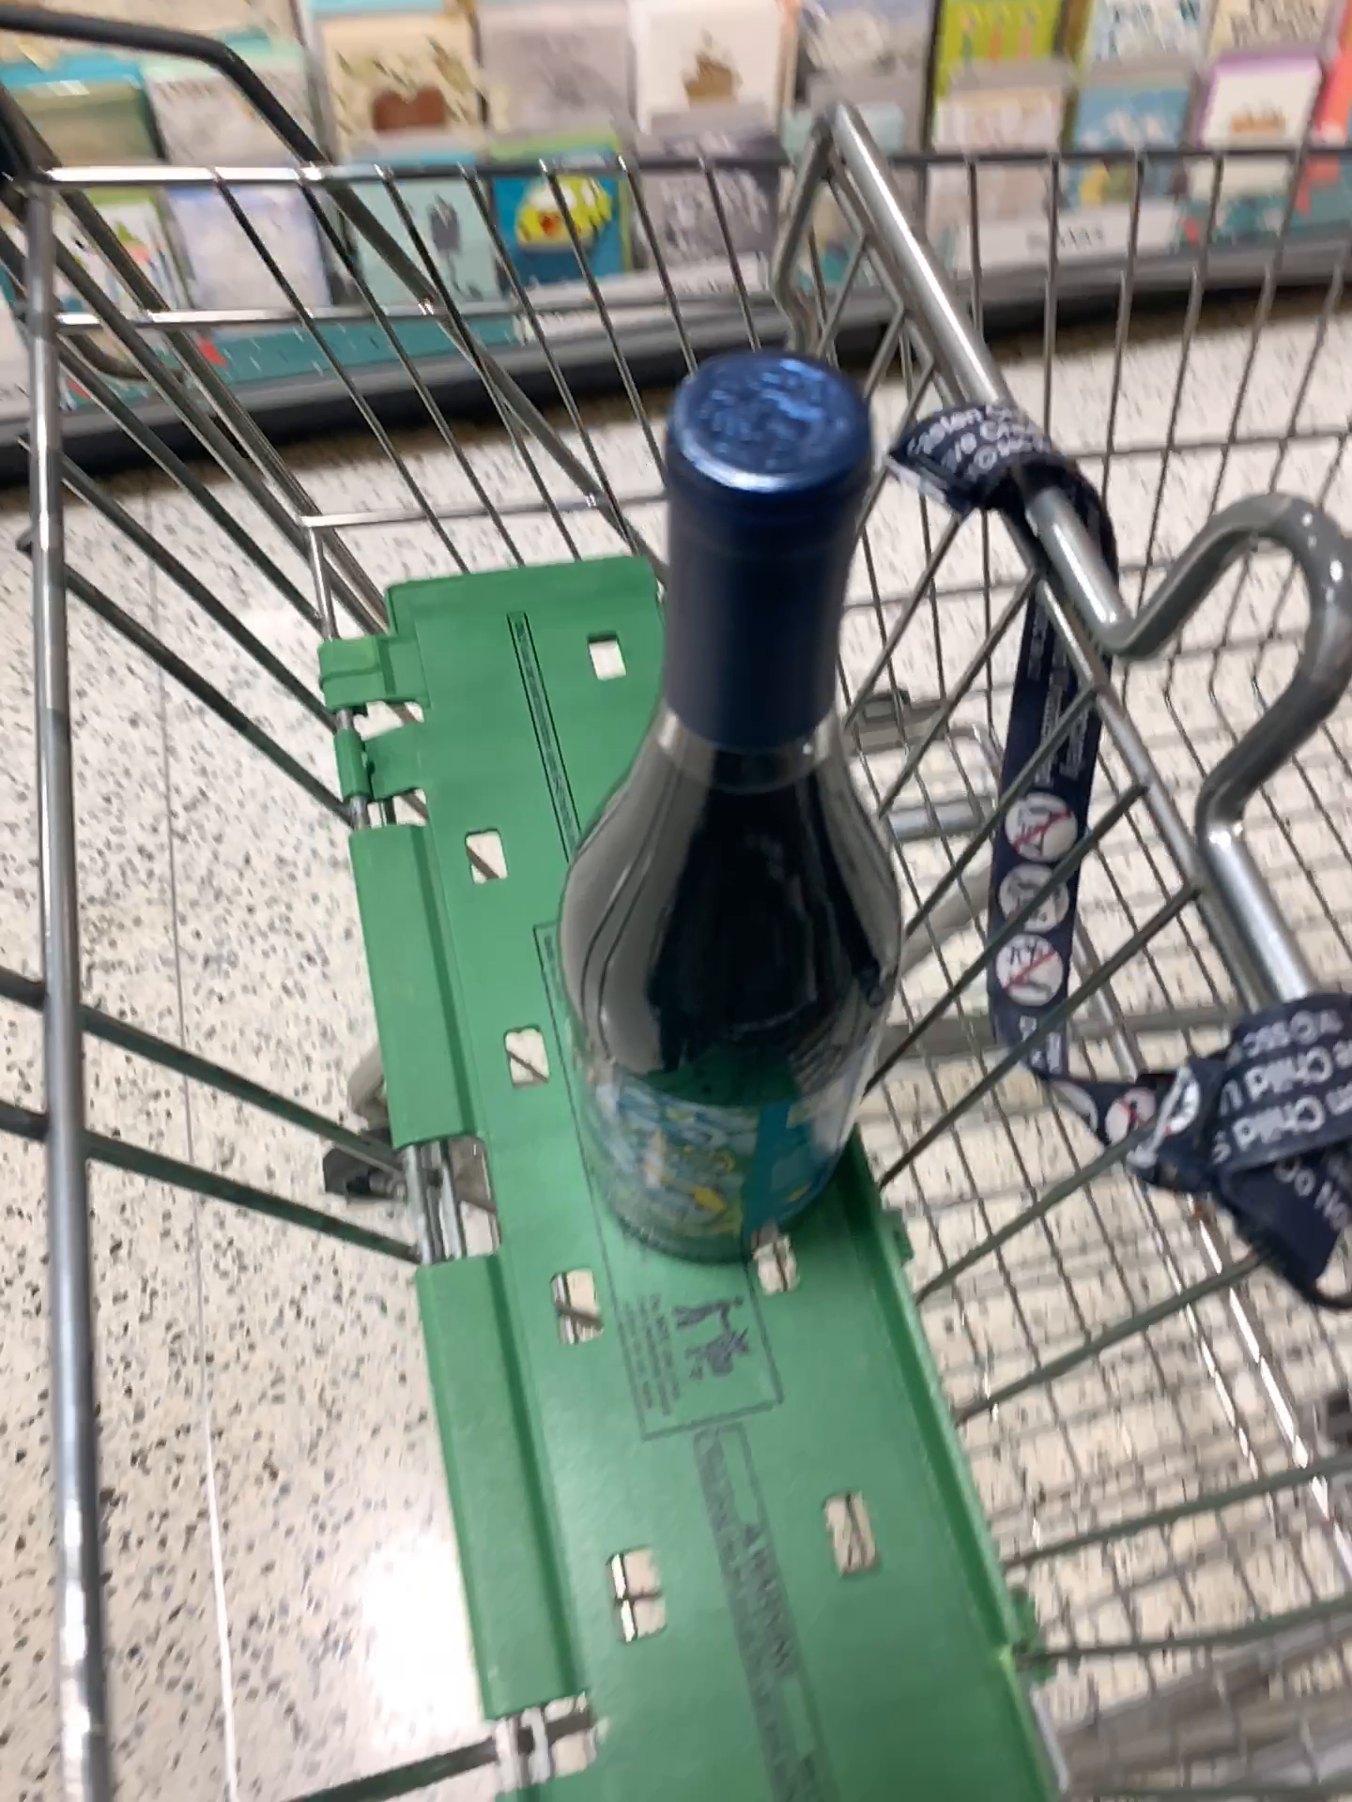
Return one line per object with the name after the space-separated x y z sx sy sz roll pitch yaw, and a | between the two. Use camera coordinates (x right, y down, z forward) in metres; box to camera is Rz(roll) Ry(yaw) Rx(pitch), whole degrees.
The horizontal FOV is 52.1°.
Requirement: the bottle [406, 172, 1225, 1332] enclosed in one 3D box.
0.014 0.008 0.305 0.075 0.286 0.080 1 60 -1 | bottle
